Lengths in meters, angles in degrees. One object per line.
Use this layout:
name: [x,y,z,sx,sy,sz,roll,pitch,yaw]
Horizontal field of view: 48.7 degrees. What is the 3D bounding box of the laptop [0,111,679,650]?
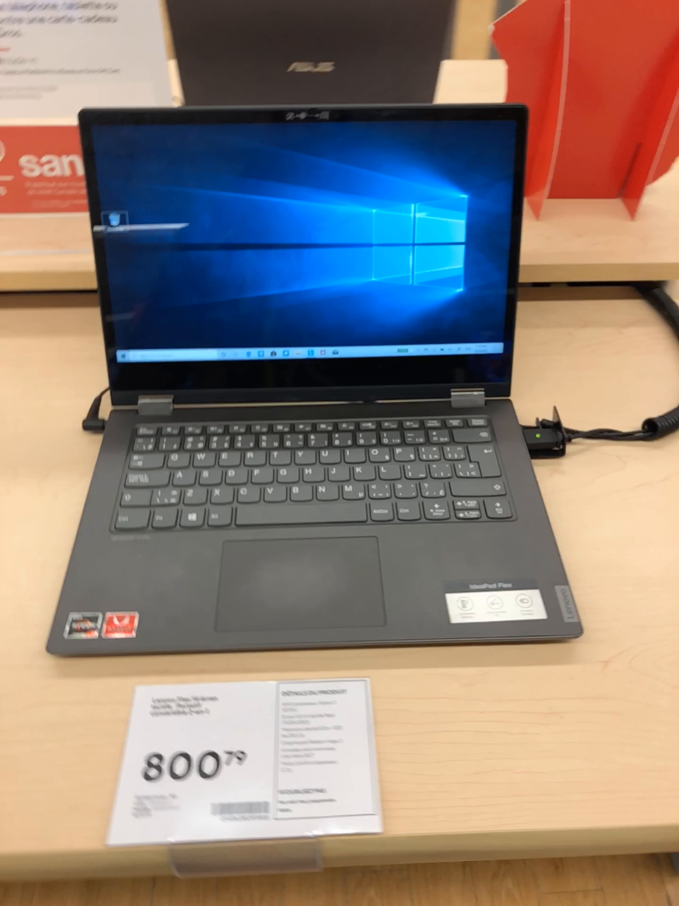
laptop: [-0.016,-0.064,0.494,0.319,0.198,0.307,-1,44,-2]
